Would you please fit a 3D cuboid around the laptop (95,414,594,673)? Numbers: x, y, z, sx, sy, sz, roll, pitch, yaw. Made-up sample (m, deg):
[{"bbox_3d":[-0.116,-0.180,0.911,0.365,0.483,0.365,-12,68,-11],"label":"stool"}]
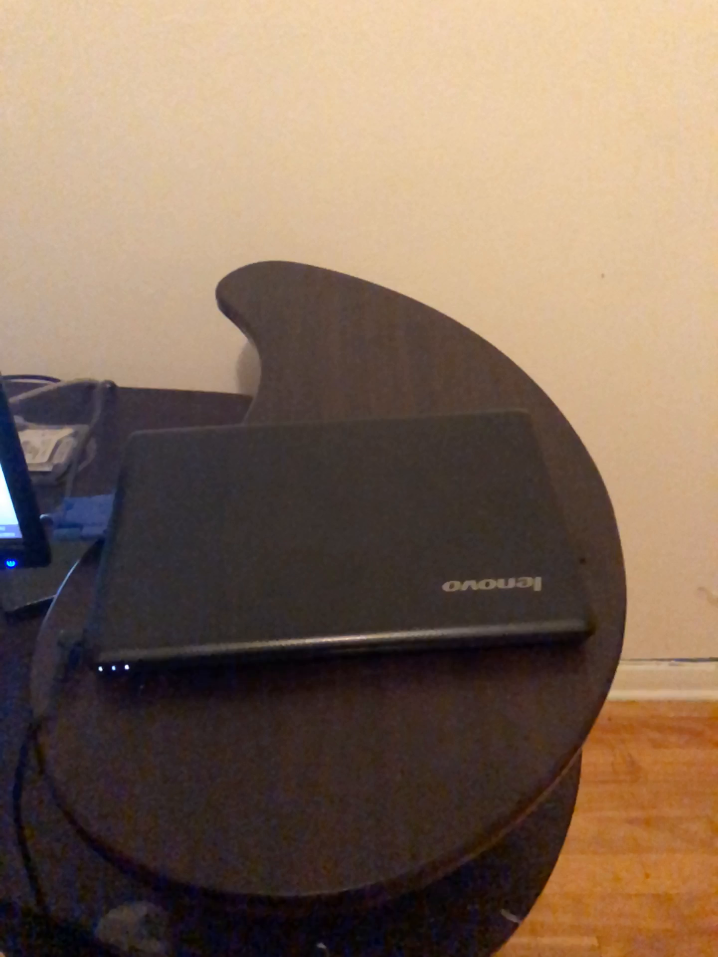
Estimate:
[{"bbox_3d":[-0.013,0.029,0.474,0.259,0.008,0.173,-4,44,0],"label":"laptop"}]
